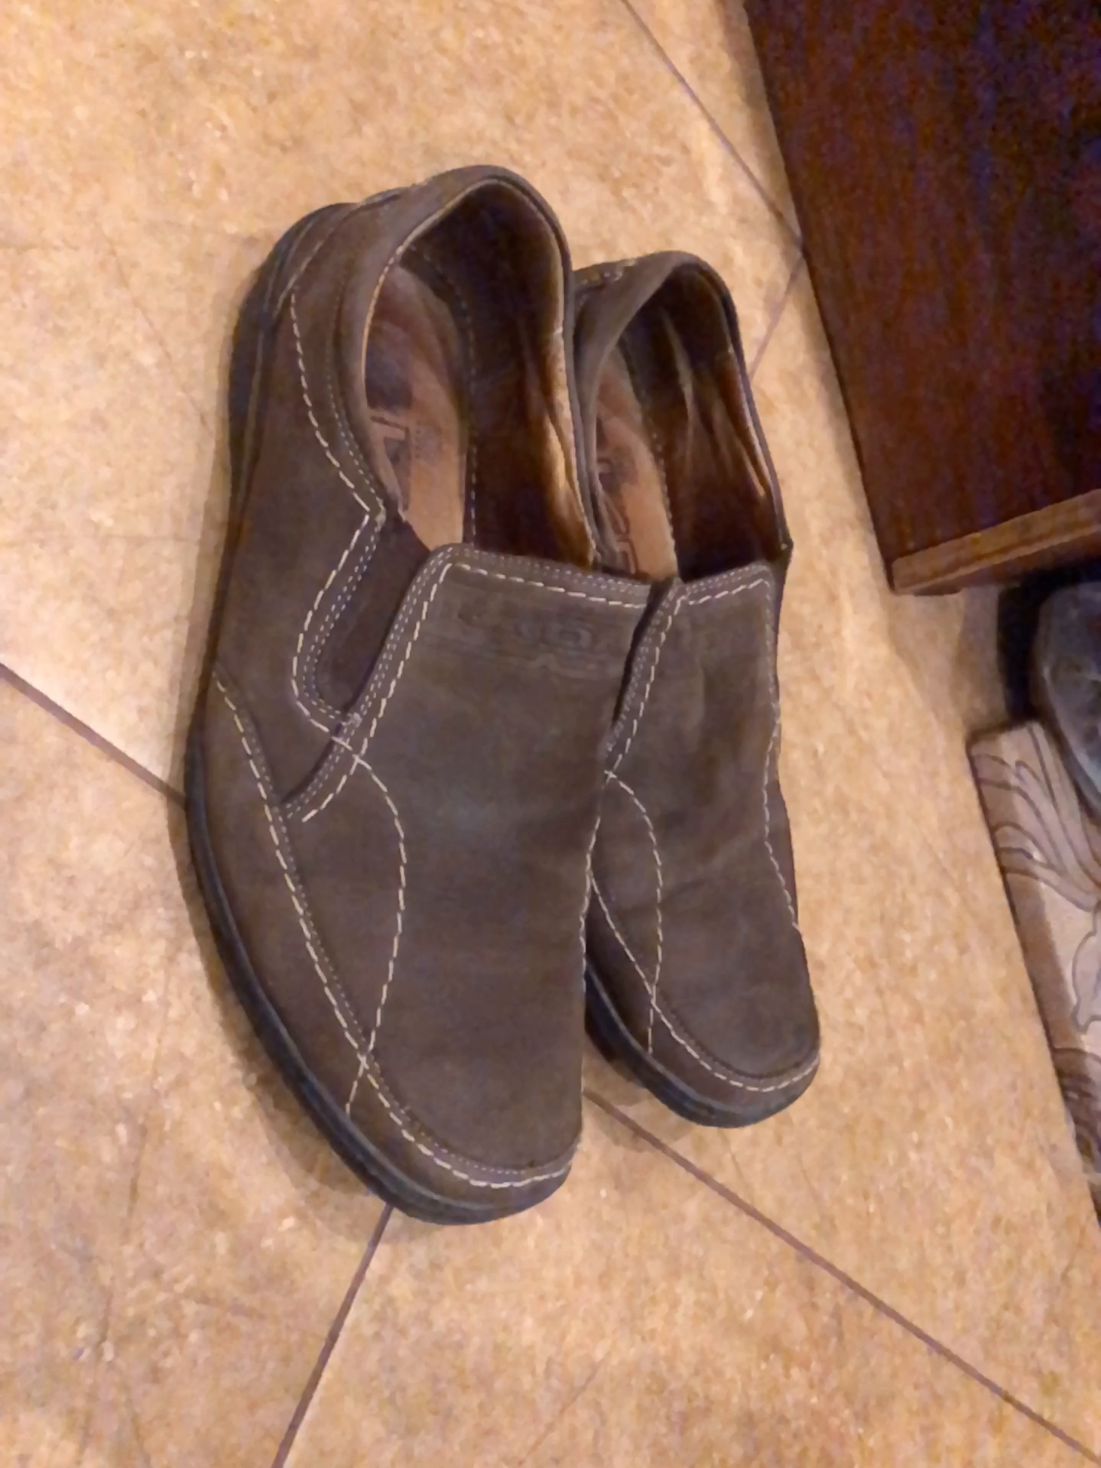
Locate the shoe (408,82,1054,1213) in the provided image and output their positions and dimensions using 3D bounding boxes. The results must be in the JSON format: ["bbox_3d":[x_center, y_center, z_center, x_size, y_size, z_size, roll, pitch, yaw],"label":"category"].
[{"bbox_3d":[0.056,-0.025,0.387,0.121,0.090,0.300,-6,82,-43],"label":"shoe"}]

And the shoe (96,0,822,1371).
[{"bbox_3d":[-0.028,-0.018,0.325,0.121,0.090,0.300,-3,80,-42],"label":"shoe"}]
